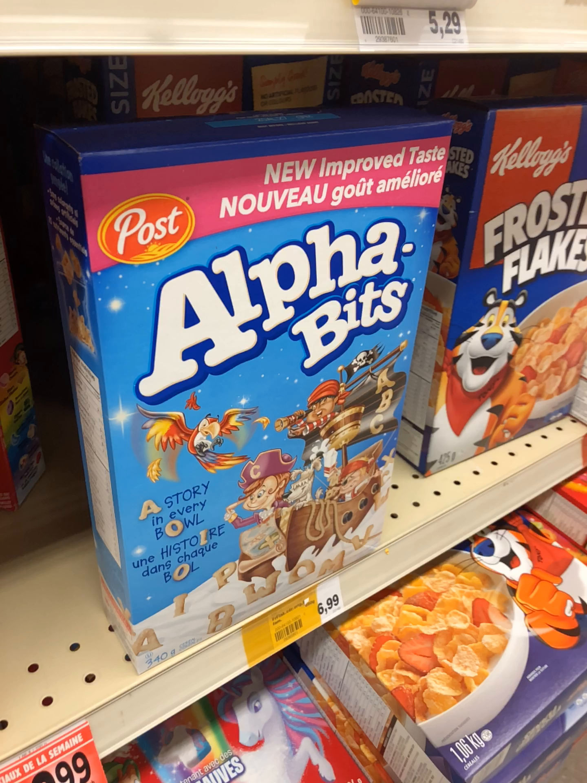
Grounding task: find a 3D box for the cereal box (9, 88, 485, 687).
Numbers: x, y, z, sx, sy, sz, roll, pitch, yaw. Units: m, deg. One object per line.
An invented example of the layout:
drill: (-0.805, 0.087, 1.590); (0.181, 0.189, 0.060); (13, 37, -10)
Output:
cereal box: (-0.020, 0.003, 0.358); (0.201, 0.298, 0.060); (-18, 41, -31)
